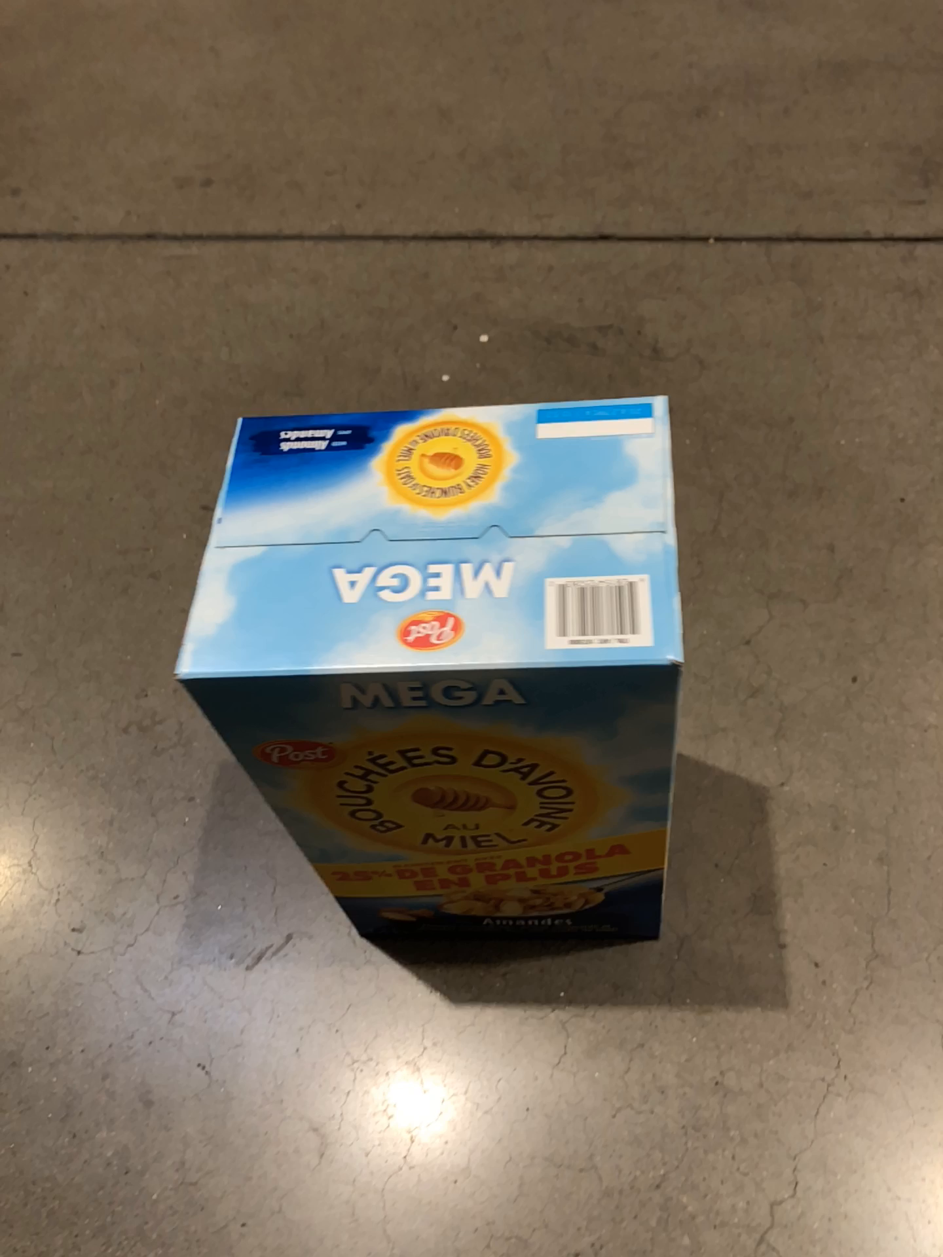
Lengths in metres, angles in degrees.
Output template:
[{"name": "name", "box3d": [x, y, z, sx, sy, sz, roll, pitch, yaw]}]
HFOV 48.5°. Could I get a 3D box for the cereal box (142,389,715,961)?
[{"name": "cereal box", "box3d": [0.005, 0.054, 0.555, 0.210, 0.329, 0.150, -2, 57, 7]}]
